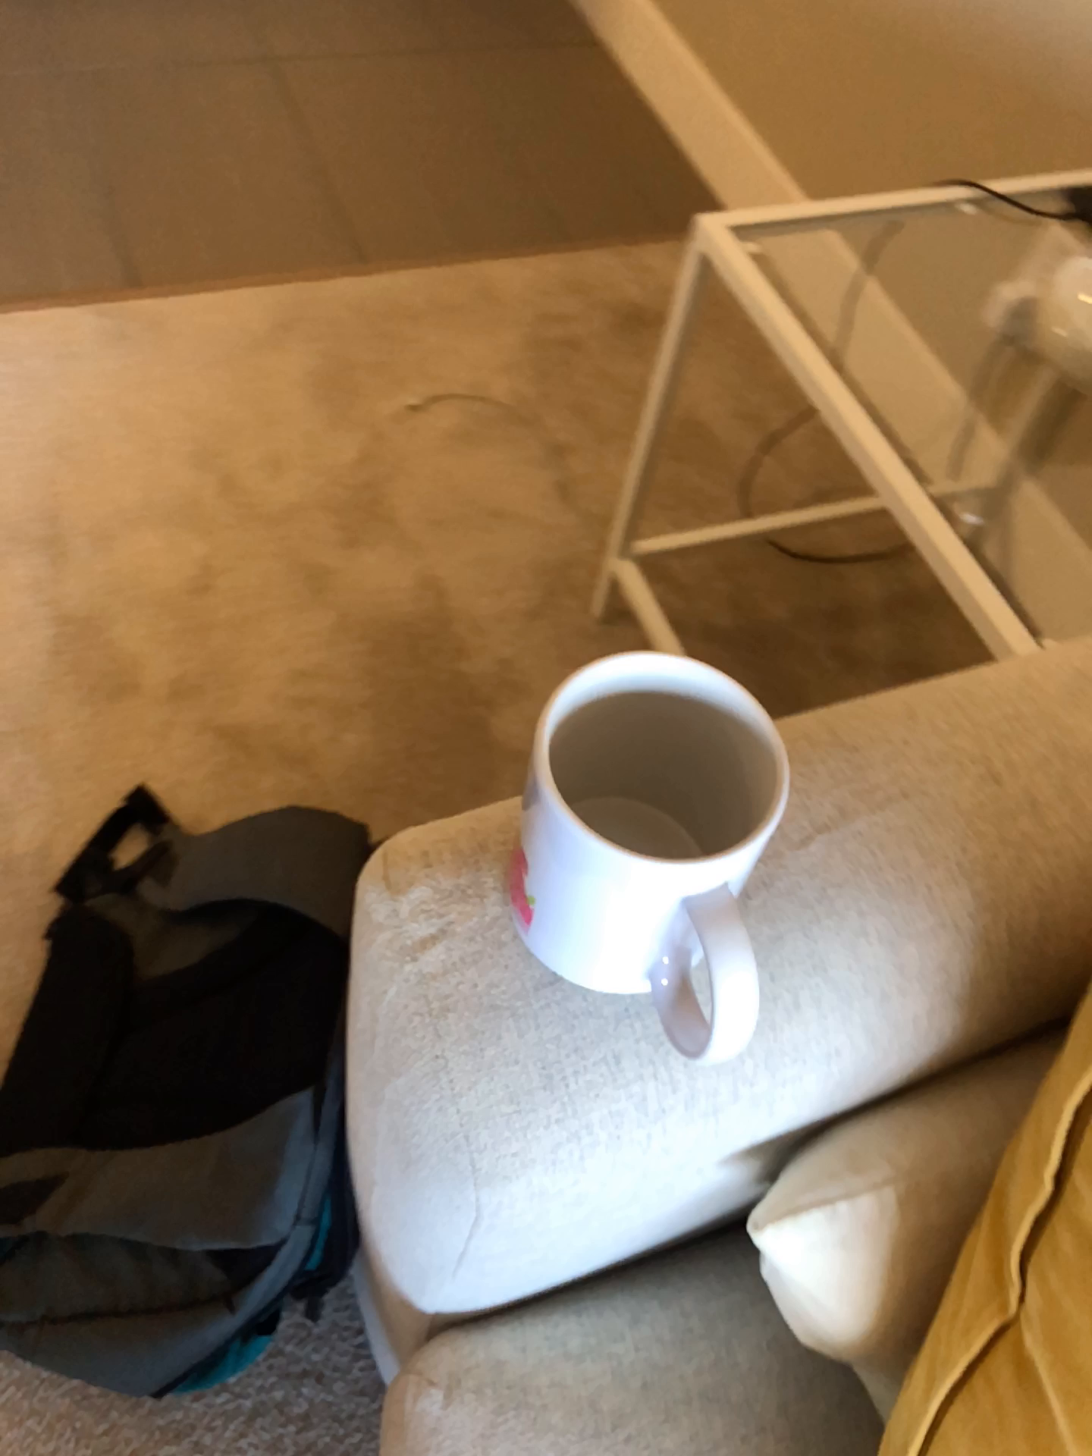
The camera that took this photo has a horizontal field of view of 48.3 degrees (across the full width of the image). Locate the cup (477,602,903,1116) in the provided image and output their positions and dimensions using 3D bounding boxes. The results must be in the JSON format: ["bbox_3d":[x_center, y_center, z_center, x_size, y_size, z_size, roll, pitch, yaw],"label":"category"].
[{"bbox_3d":[0.036,0.042,0.395,0.080,0.100,0.120,-9,57,-16],"label":"cup"}]
